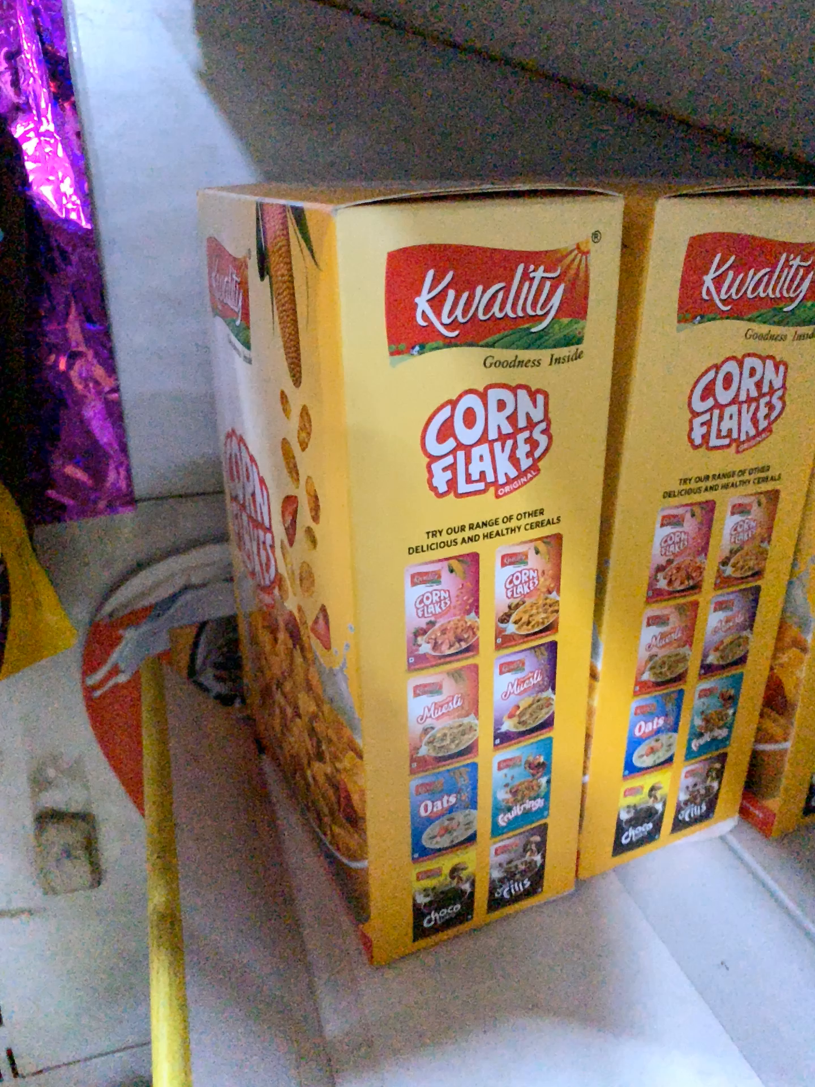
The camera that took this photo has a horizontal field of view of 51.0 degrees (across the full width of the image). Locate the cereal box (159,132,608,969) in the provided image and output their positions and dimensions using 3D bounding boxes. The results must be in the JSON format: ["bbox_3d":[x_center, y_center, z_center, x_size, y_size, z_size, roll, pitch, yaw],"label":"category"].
[{"bbox_3d":[-0.015,-0.009,0.230,0.060,0.179,0.121,-10,25,-23],"label":"cereal box"}]
